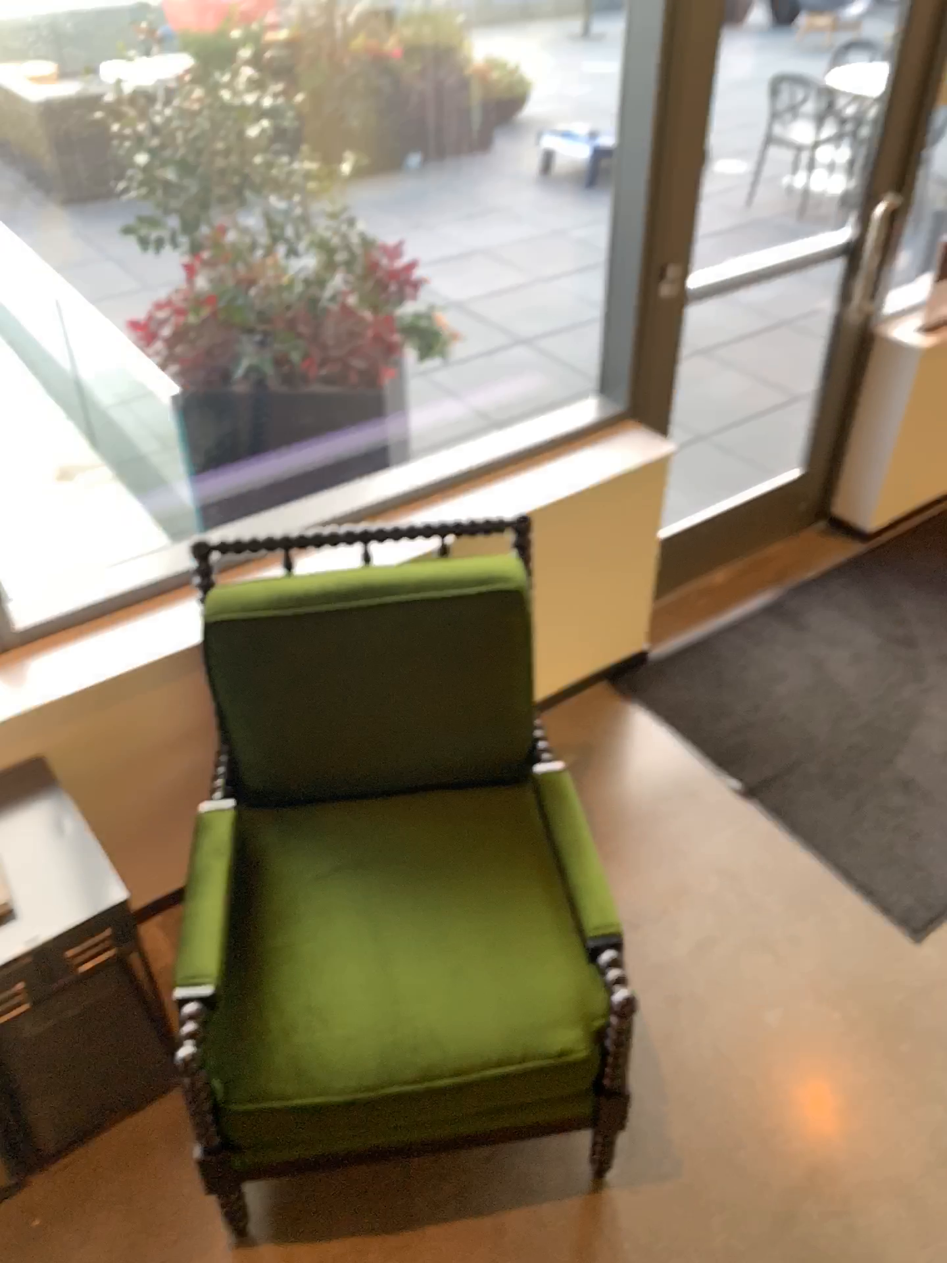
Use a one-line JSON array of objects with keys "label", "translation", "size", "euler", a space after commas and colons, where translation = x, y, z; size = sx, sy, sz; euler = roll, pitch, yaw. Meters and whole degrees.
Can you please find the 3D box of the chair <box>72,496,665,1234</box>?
[{"label": "chair", "translation": [-0.180, 0.429, 1.925], "size": [0.760, 0.984, 0.925], "euler": [-5, 40, -5]}]
